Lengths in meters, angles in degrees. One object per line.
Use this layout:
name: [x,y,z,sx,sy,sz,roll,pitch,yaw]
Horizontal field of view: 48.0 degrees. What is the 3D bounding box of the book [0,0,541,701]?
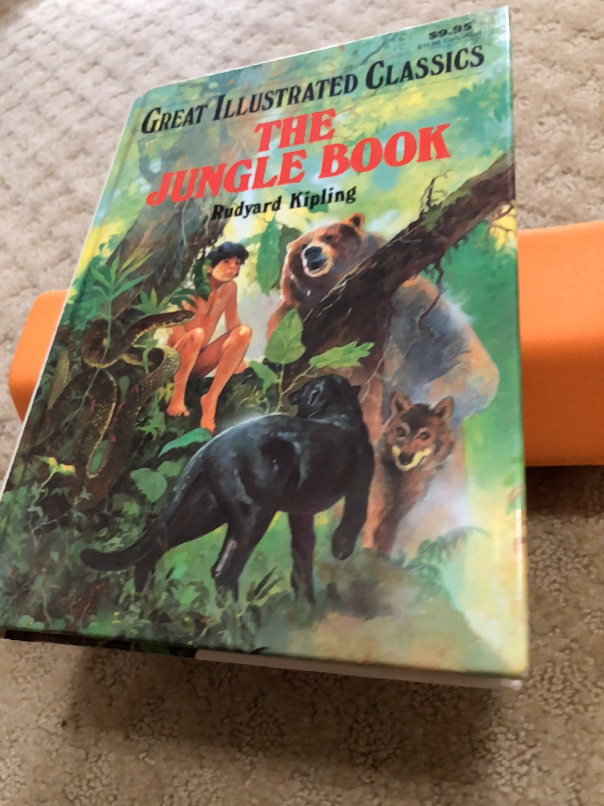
book: [-0.006,-0.032,0.204,0.140,0.029,0.208,-2,62,19]
